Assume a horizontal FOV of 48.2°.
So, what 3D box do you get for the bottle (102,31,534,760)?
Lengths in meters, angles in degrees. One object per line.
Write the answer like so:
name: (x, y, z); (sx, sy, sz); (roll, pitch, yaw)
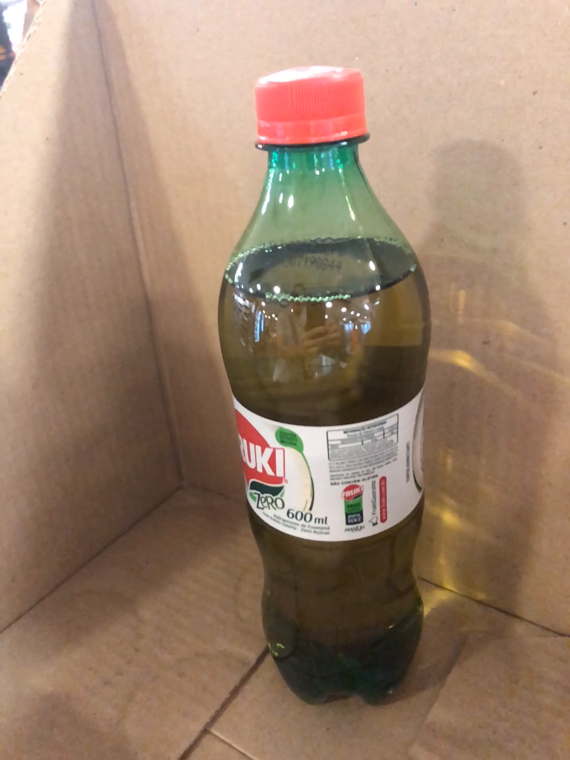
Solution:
bottle: (0.016, 0.019, 0.222); (0.080, 0.238, 0.080); (-4, 28, 2)
